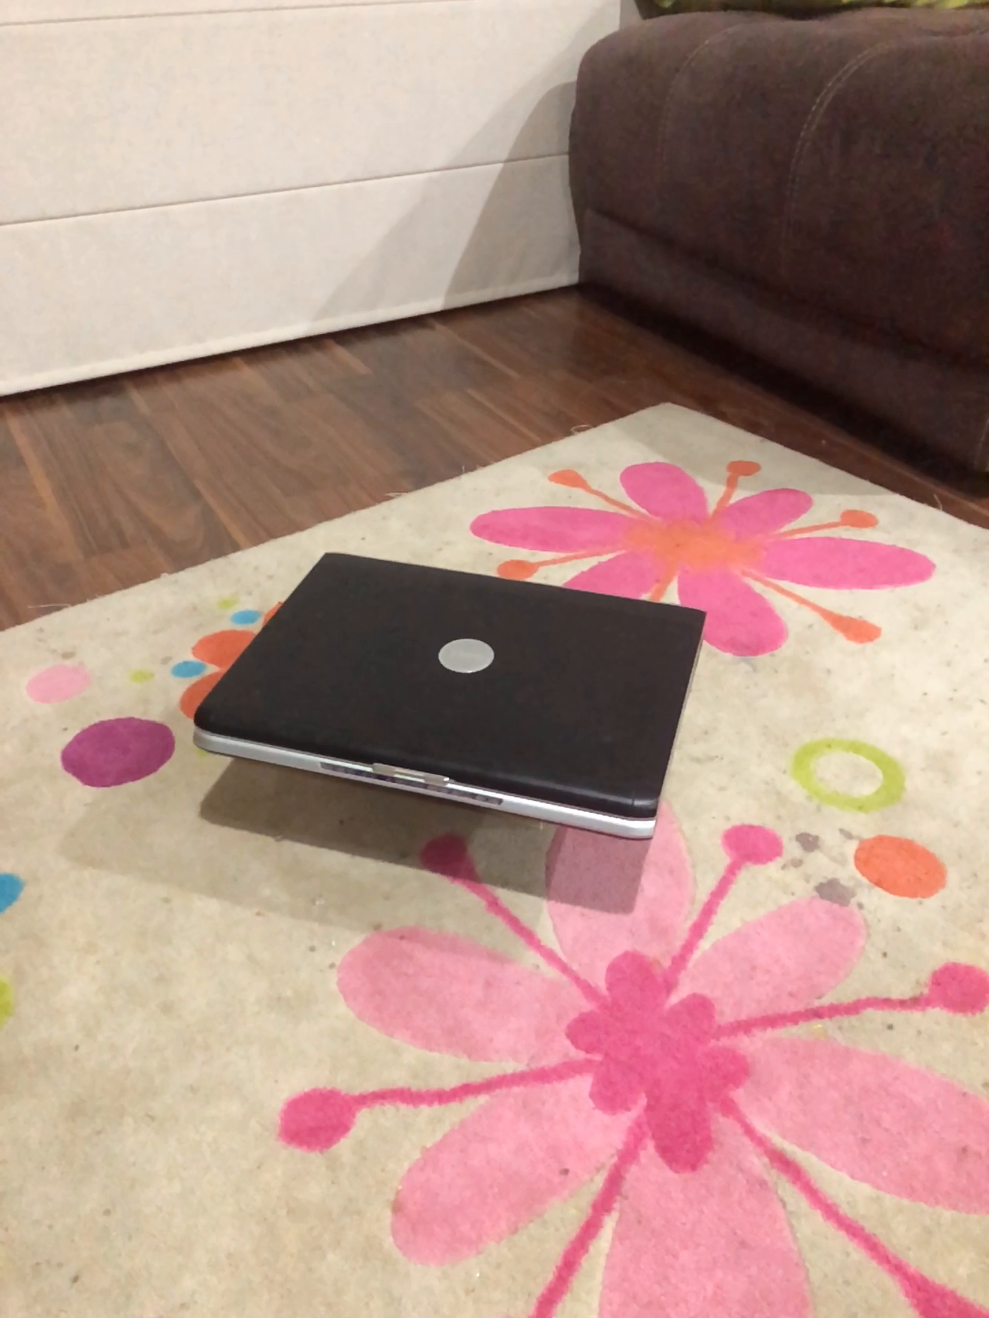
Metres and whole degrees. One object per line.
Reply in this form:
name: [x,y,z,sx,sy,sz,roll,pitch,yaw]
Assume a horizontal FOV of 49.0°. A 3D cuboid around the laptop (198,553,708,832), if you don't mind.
laptop: [-0.026,0.010,0.866,0.353,0.015,0.233,9,42,17]
